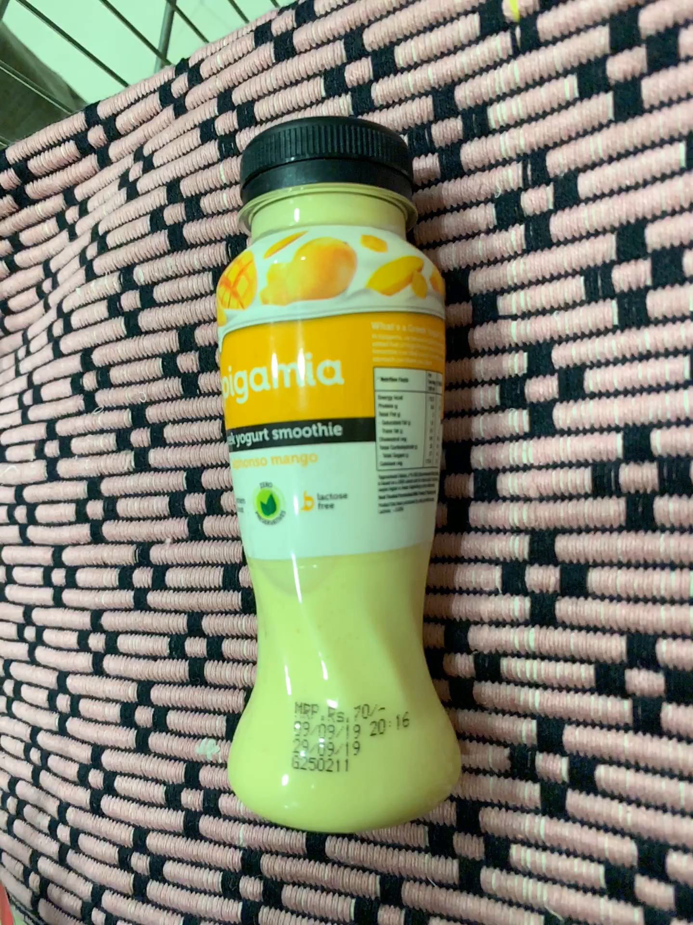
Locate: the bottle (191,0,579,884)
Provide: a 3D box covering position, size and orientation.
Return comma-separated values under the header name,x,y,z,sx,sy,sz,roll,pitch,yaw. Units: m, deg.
name,x,y,z,sx,sy,sz,roll,pitch,yaw
bottle,0.008,-0.007,0.167,0.060,0.060,0.160,-5,85,43
